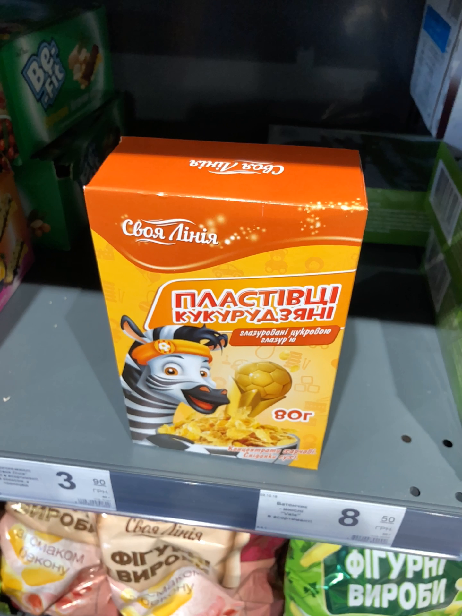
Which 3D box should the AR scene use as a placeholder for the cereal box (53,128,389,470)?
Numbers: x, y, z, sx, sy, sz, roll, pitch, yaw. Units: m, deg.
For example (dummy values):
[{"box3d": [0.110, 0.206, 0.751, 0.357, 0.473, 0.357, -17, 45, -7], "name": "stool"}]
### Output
[{"box3d": [-0.003, 0.004, 0.253, 0.120, 0.159, 0.050, 6, 41, 6], "name": "cereal box"}]
